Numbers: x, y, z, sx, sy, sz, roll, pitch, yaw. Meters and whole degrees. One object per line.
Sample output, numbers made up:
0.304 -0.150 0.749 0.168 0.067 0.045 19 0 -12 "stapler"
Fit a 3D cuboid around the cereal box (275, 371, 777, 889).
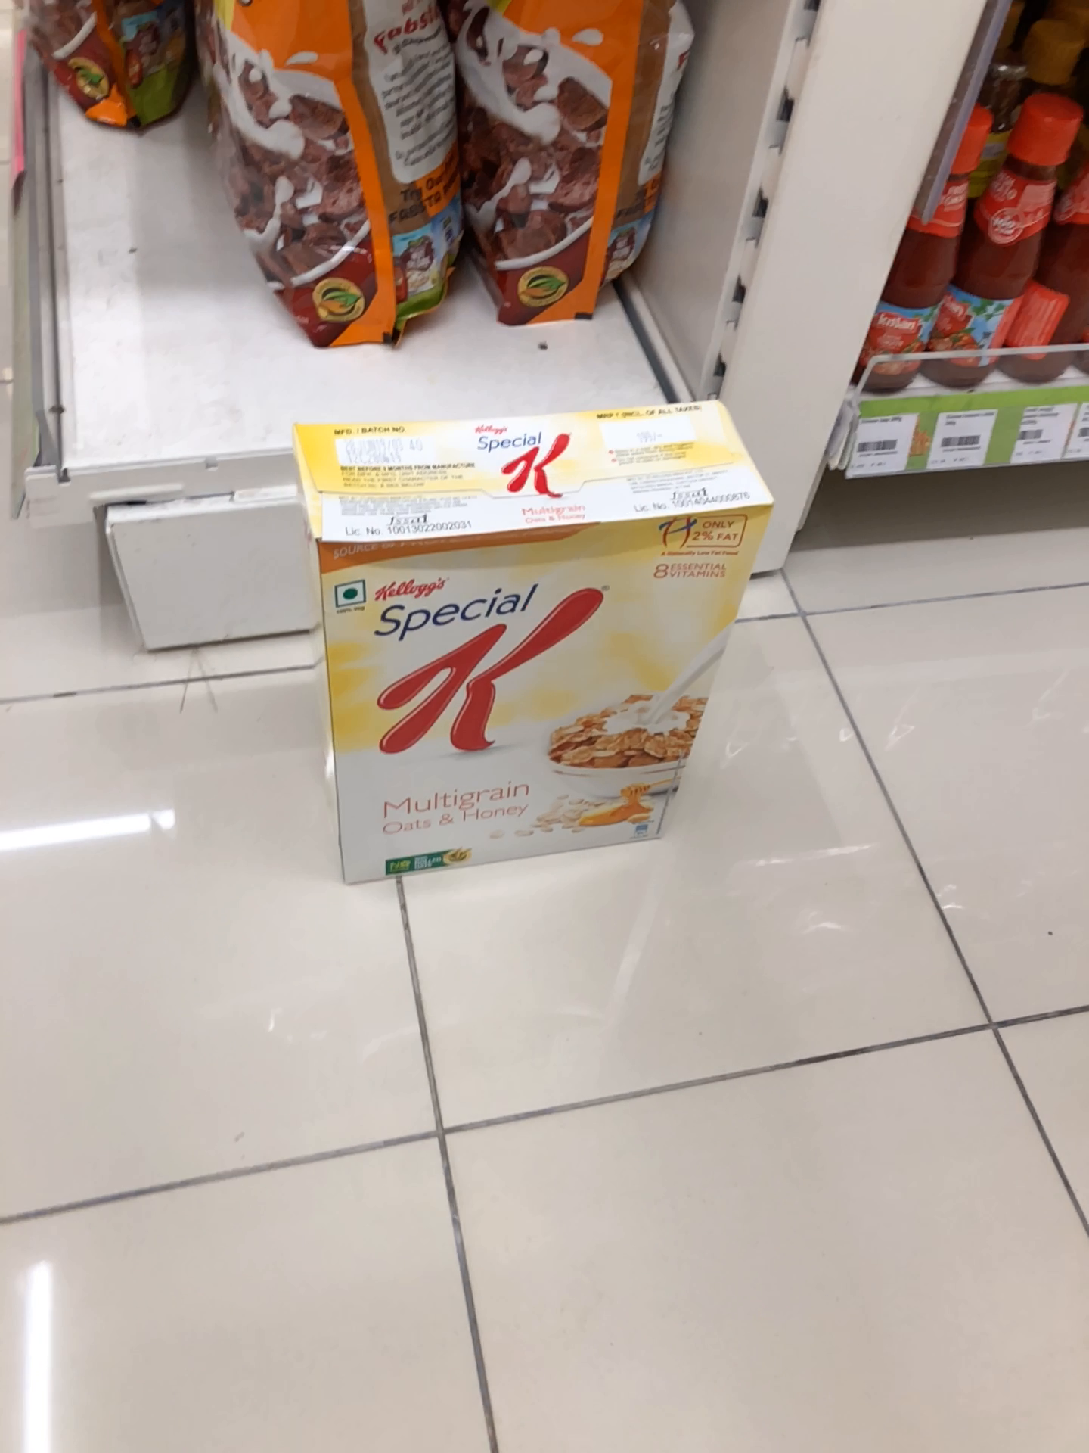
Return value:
-0.022 -0.033 0.584 0.190 0.269 0.070 -8 54 -14 "cereal box"
